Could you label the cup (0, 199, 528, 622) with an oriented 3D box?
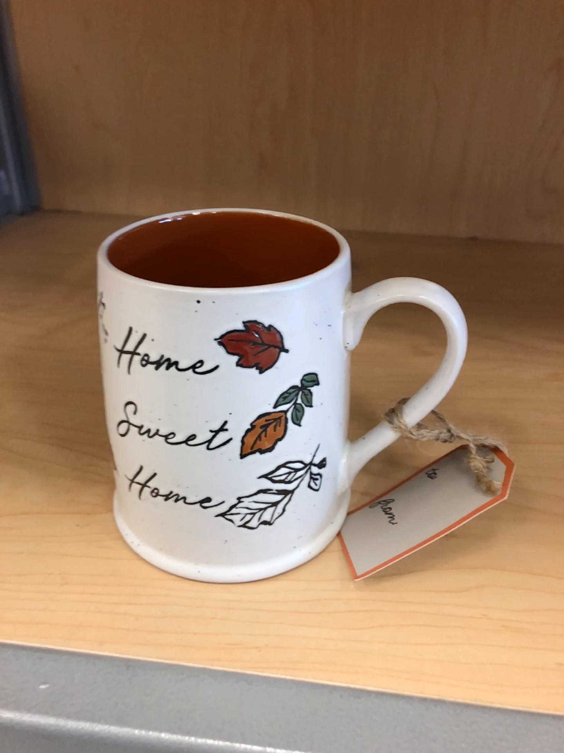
[{"bbox_3d":[-0.004,0.006,0.204,0.125,0.099,0.081,4,31,5],"label":"cup"}]
